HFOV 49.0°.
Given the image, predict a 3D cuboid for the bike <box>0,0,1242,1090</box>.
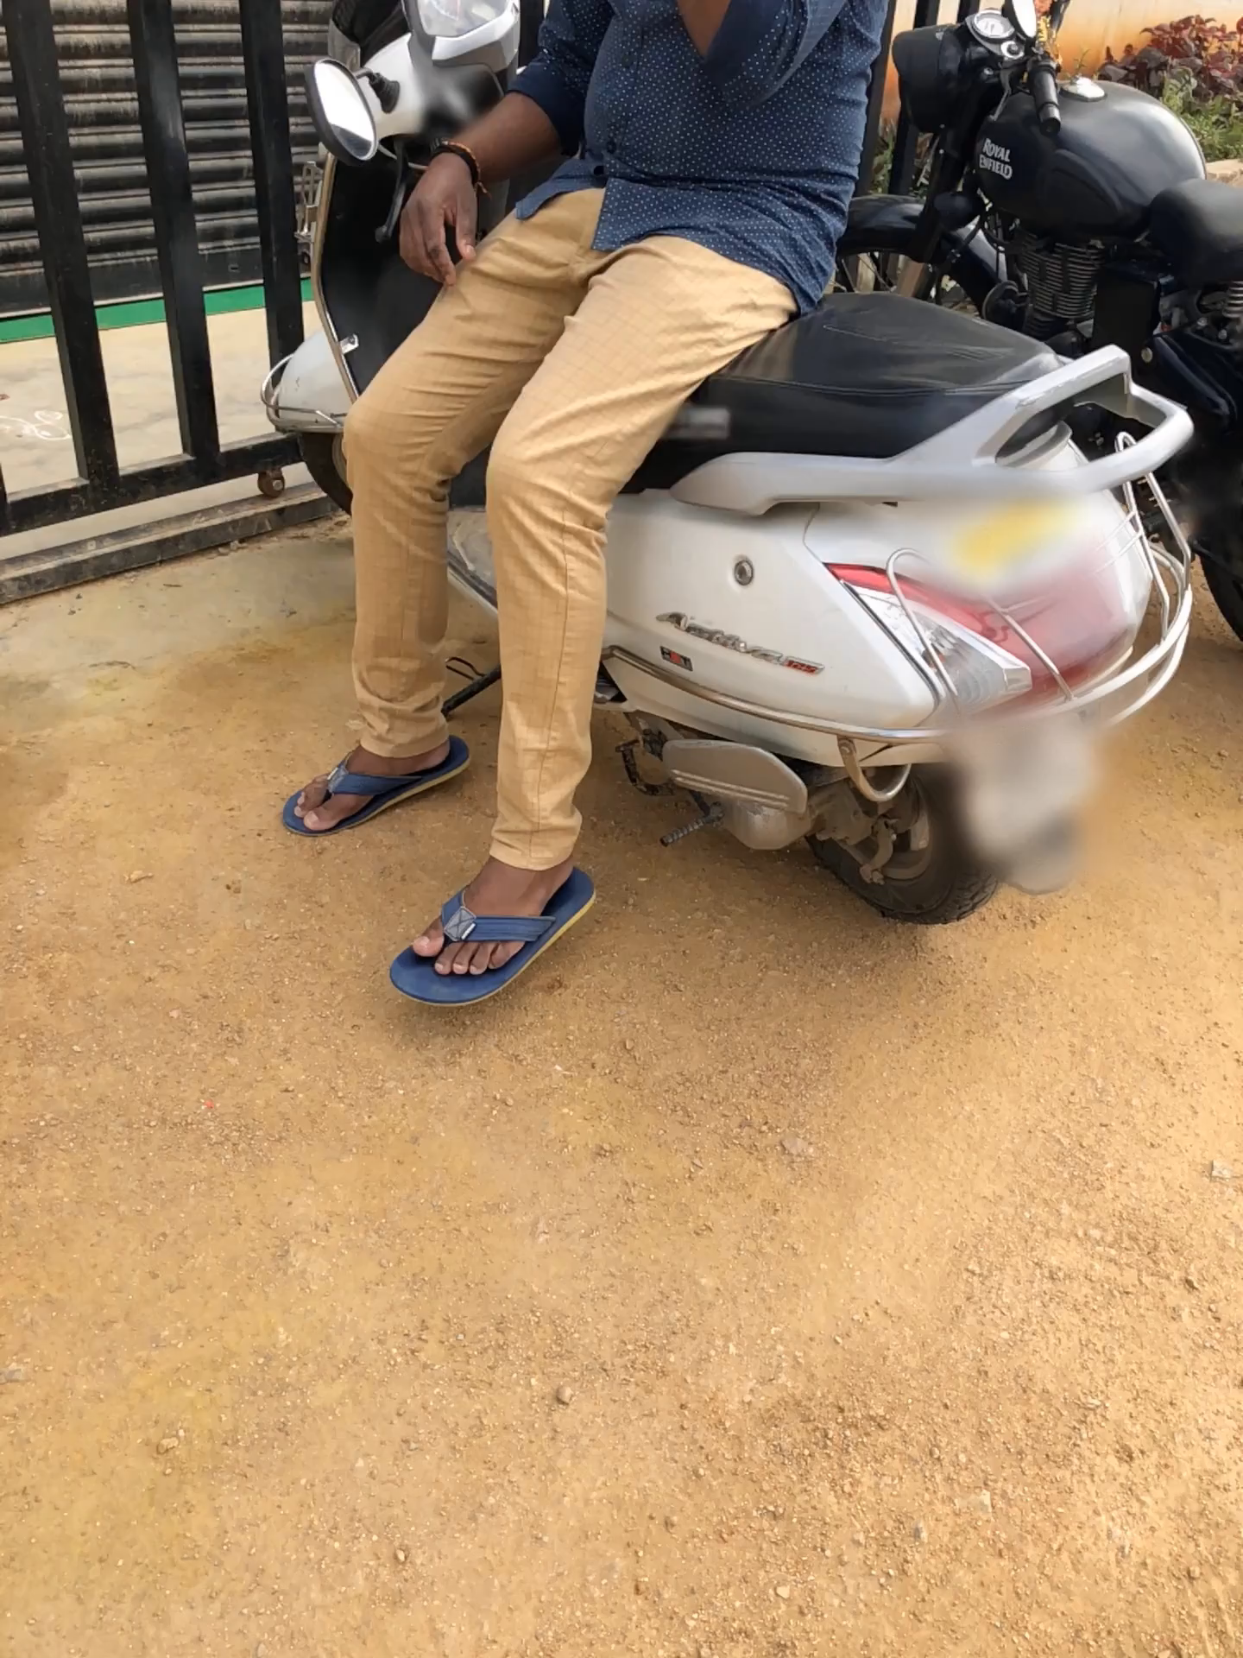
[{"bbox_3d":[-0.176,-0.638,1.905,0.653,1.069,1.647,-24,44,-36],"label":"bike"}]
